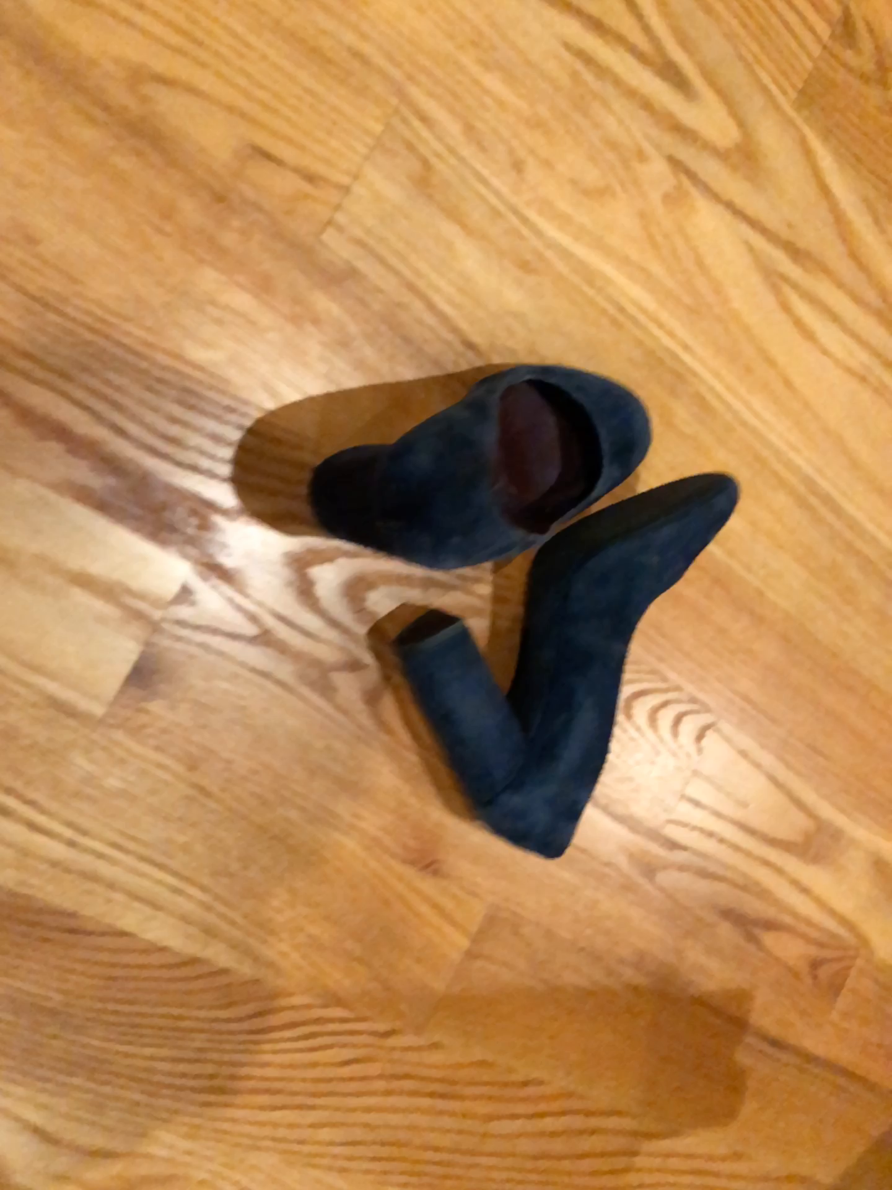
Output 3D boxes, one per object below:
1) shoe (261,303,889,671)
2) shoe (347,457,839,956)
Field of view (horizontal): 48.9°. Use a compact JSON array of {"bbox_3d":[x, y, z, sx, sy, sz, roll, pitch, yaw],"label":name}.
[{"bbox_3d":[0.056,-0.058,0.440,0.226,0.146,0.080,-21,107,-24],"label":"shoe"},{"bbox_3d":[0.082,0.046,0.504,0.204,0.080,0.152,-34,112,-20],"label":"shoe"}]
